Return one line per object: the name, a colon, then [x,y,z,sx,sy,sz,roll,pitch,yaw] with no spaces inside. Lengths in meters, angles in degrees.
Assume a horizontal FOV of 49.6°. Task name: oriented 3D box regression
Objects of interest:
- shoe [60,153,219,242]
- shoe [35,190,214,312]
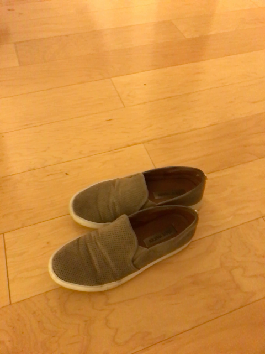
shoe: [0.010,0.035,0.563,0.280,0.060,0.111,-10,55,-10]
shoe: [-0.012,0.120,0.501,0.281,0.050,0.110,-16,56,-15]
